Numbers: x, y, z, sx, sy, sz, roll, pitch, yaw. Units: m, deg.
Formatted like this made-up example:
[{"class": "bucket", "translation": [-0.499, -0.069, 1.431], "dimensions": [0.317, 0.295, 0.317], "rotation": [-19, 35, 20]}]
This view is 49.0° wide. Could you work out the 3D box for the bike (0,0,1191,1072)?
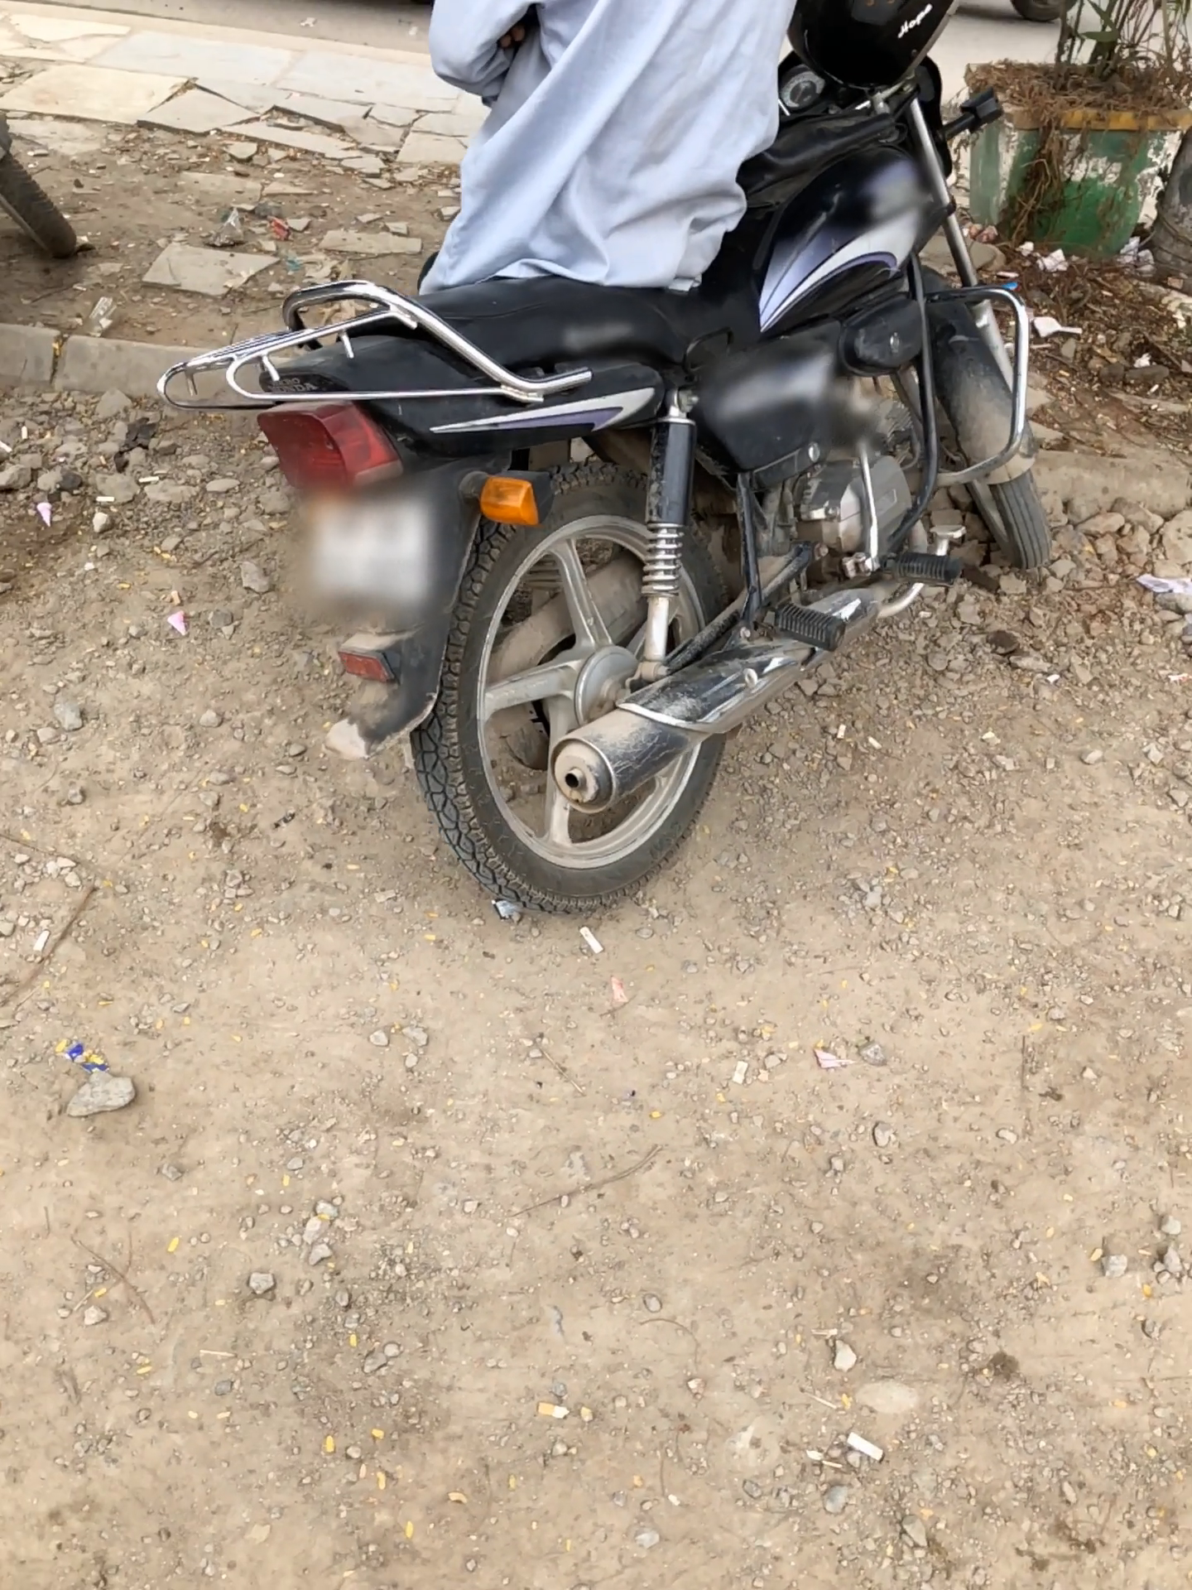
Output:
[{"class": "bike", "translation": [0.102, -0.681, 1.923], "dimensions": [0.739, 1.170, 1.604], "rotation": [26, 45, 21]}]
